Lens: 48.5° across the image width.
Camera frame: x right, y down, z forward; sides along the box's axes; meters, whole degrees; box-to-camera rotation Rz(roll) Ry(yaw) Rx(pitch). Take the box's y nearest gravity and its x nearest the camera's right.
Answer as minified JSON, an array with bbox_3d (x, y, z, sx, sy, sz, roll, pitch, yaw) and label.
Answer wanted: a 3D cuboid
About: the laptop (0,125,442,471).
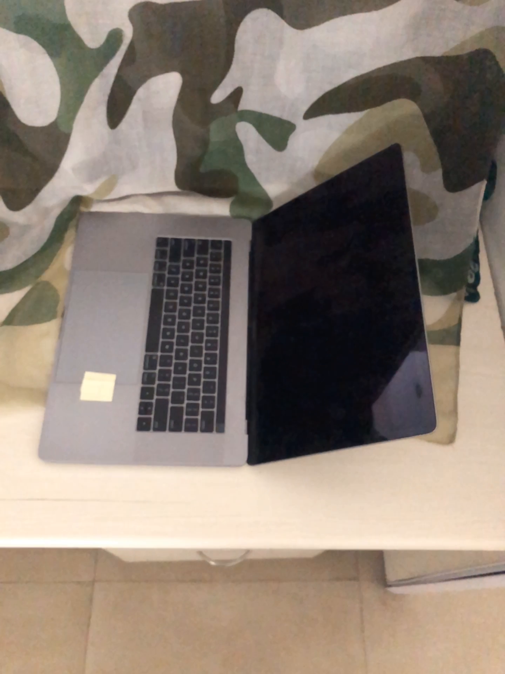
[{"bbox_3d":[-0.036,-0.043,0.644,0.402,0.166,0.342,2,64,-2],"label":"laptop"}]
